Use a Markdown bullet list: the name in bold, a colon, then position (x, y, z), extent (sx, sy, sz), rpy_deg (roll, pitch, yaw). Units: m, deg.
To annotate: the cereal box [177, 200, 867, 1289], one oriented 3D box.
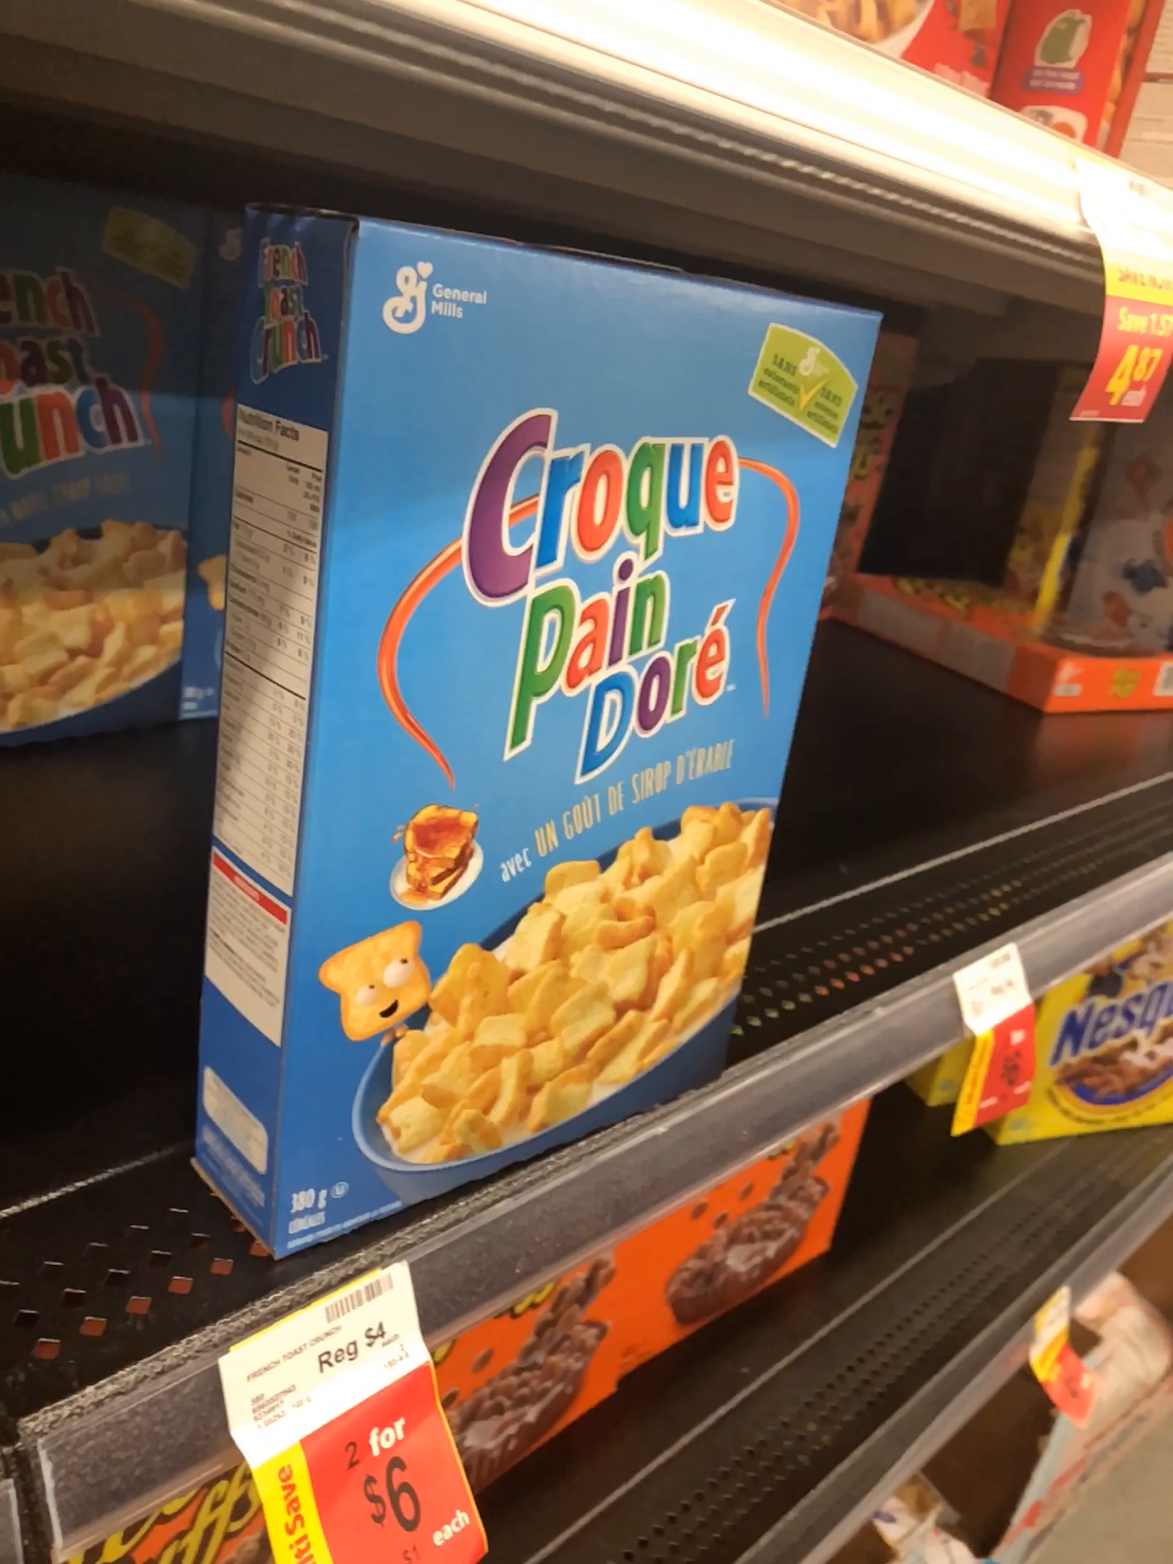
- **cereal box**: position (-0.021, -0.012, 0.425), extent (0.200, 0.299, 0.060), rpy_deg (-8, 24, -41)
